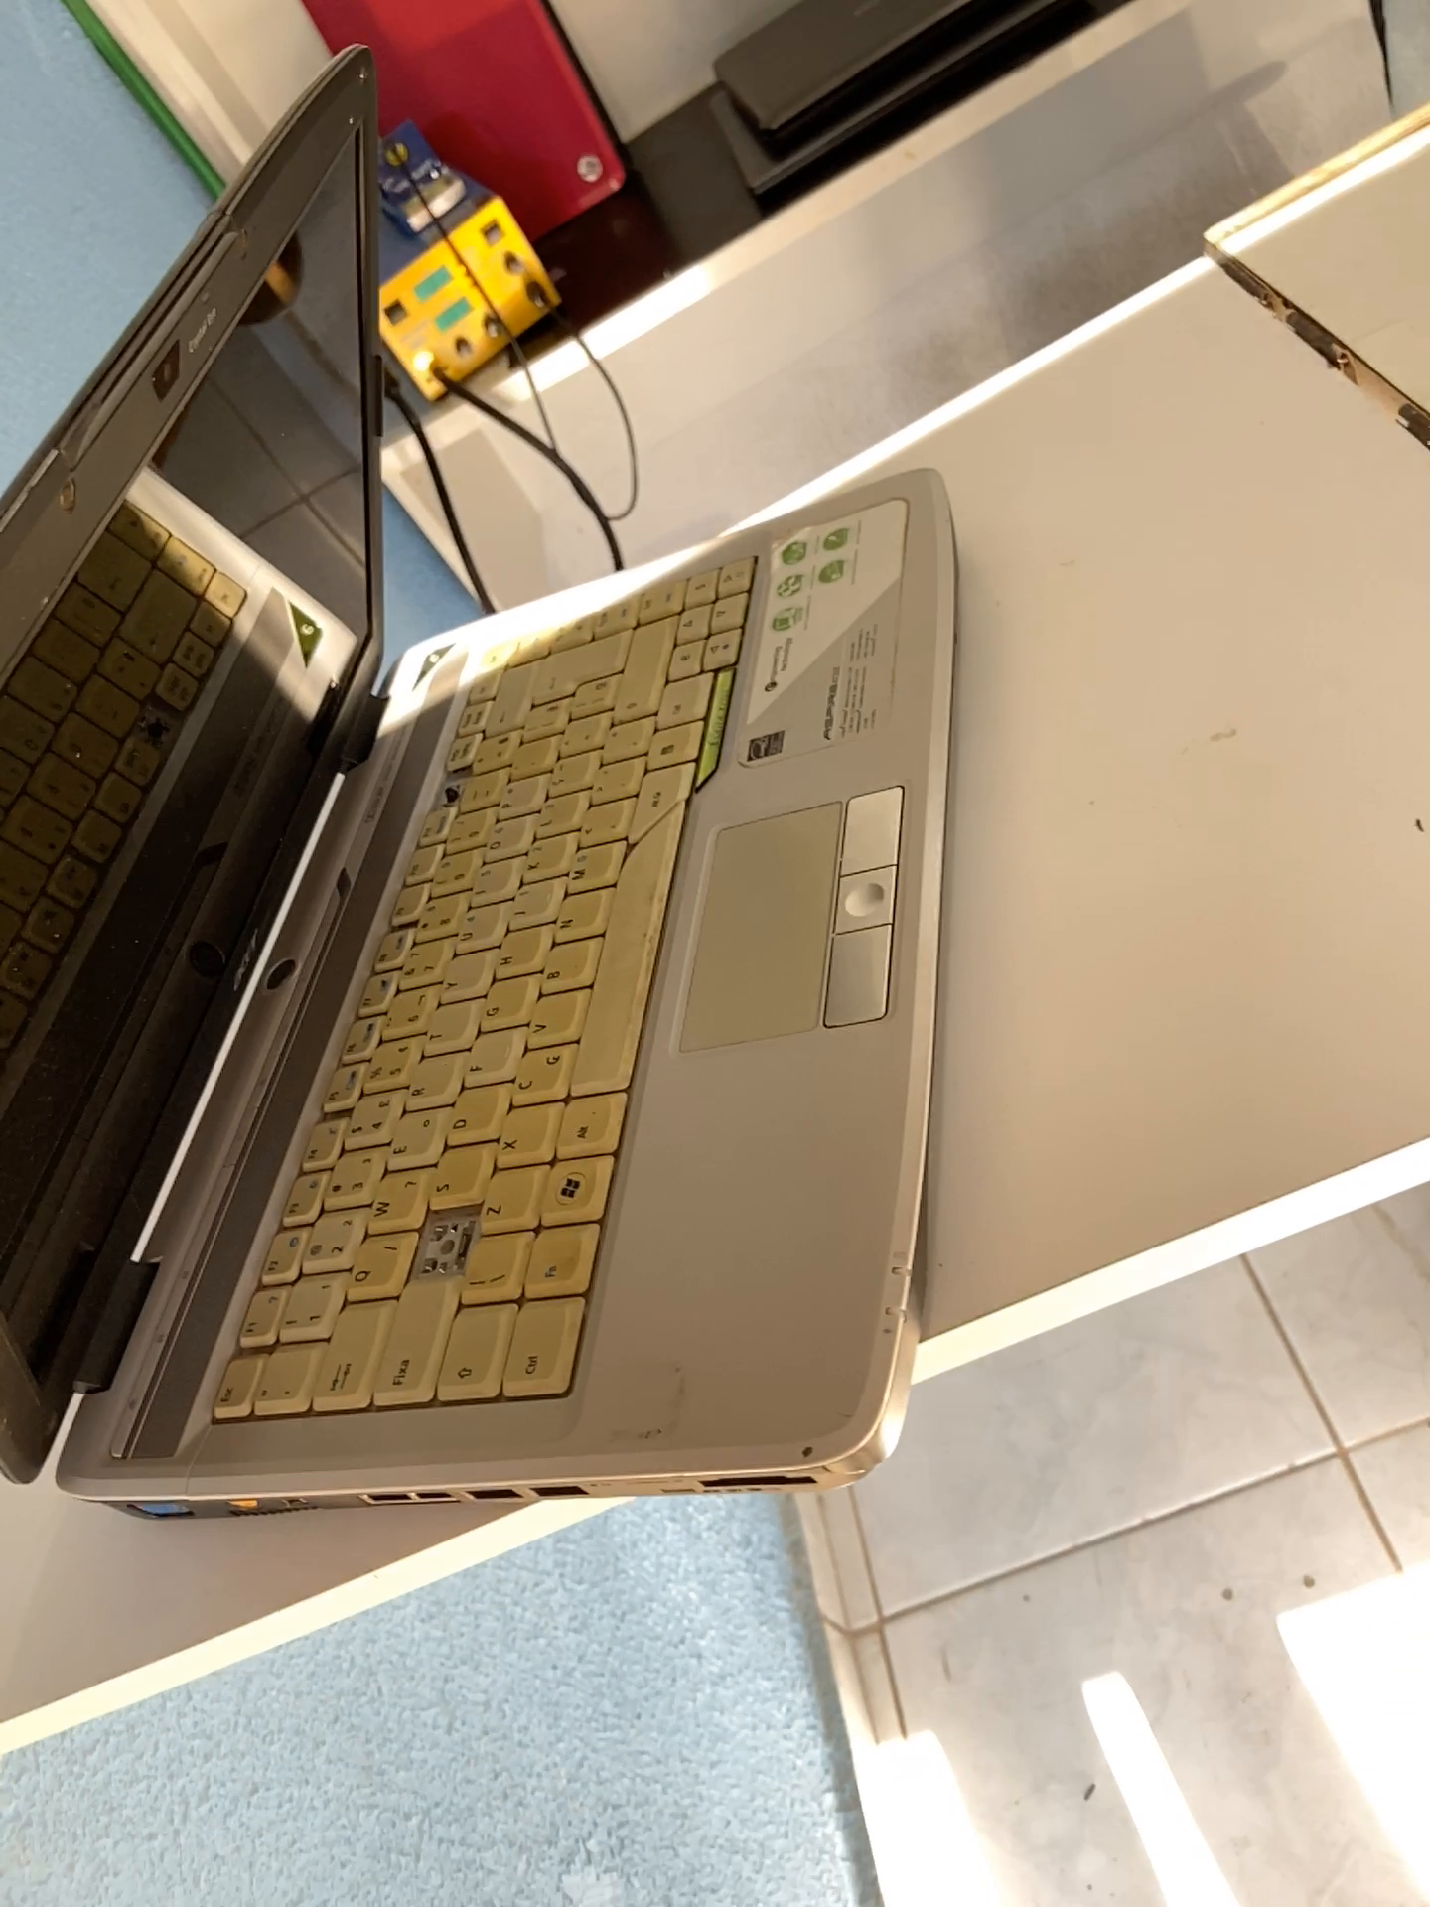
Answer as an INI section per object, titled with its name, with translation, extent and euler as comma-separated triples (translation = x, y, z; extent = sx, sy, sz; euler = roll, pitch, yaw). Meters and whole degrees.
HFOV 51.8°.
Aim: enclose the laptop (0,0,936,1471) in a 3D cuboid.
[laptop]
translation = -0.092, -0.067, 0.382
extent = 0.225, 0.179, 0.329
euler = -12, 47, 26
